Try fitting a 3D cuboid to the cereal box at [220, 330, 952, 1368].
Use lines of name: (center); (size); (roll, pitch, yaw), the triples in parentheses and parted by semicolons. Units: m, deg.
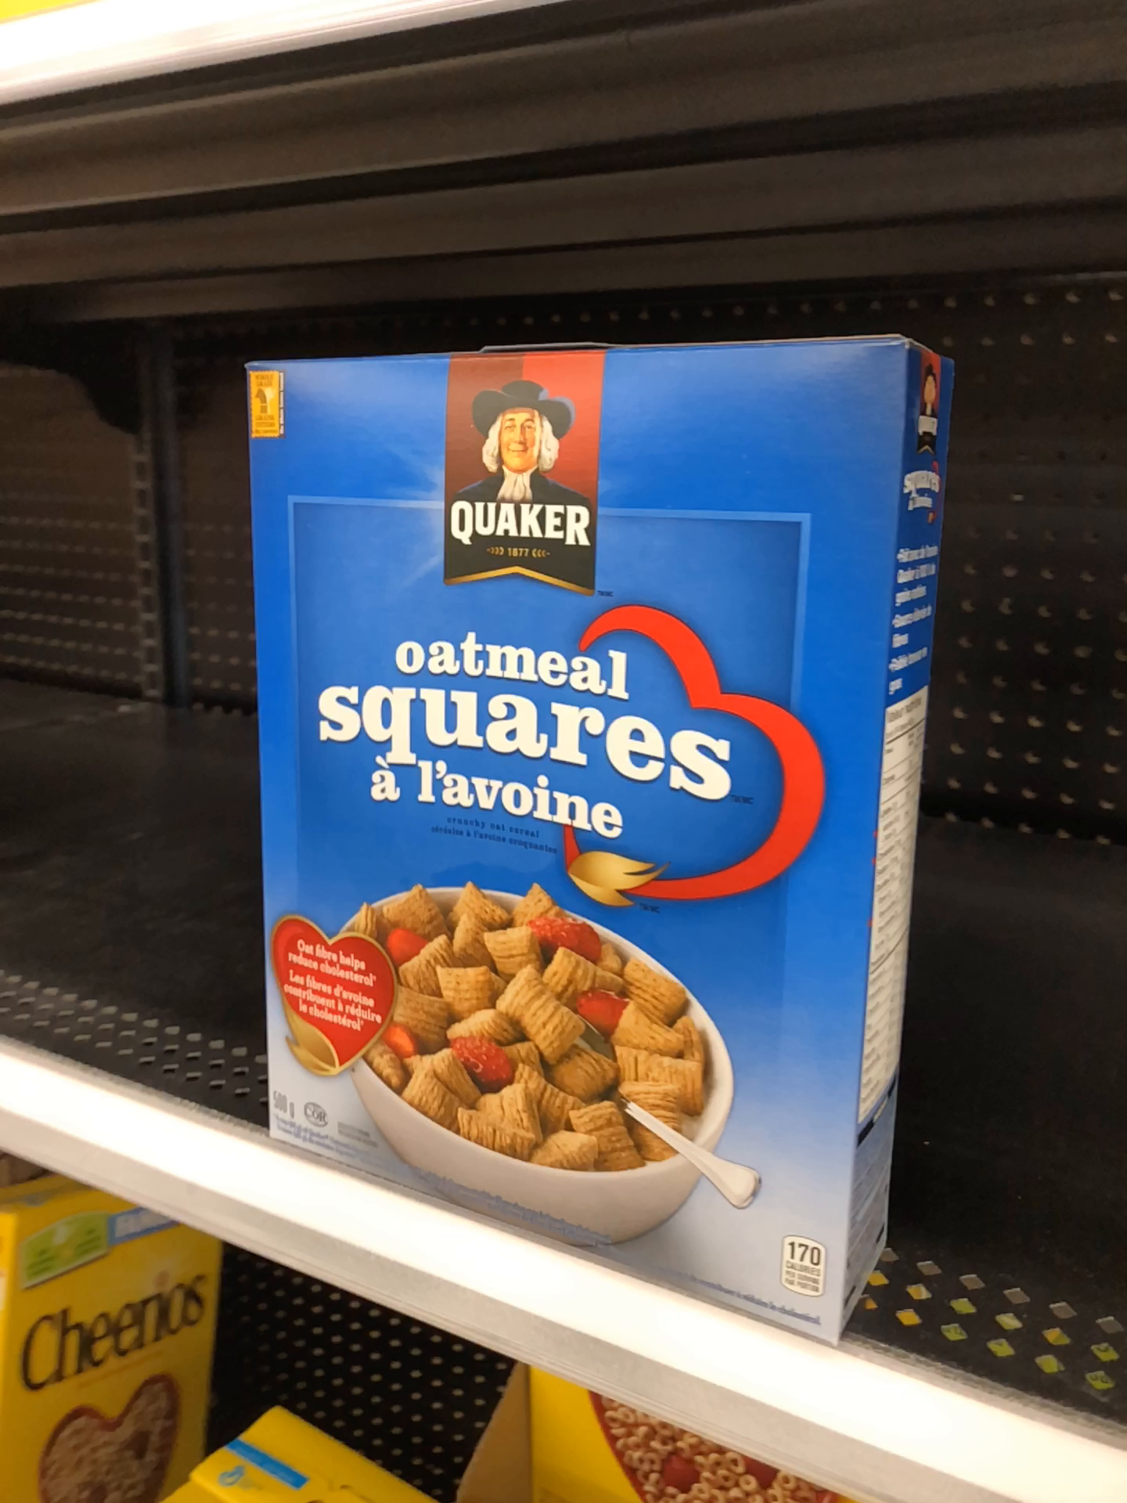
cereal box: (-0.003, 0.018, 0.396); (0.210, 0.279, 0.060); (8, 14, 27)
